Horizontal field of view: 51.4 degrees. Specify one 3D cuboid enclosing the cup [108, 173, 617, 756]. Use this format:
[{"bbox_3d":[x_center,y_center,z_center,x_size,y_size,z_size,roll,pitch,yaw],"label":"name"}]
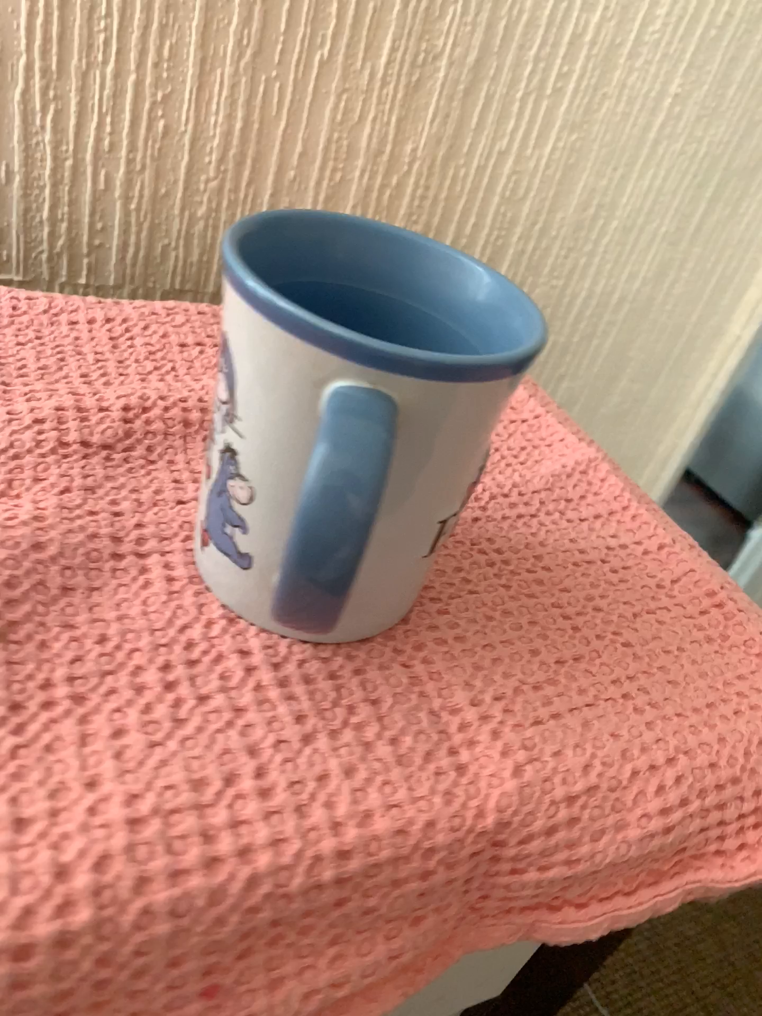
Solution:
[{"bbox_3d":[-0.008,-0.017,0.221,0.090,0.099,0.111,15,34,-6],"label":"cup"}]
